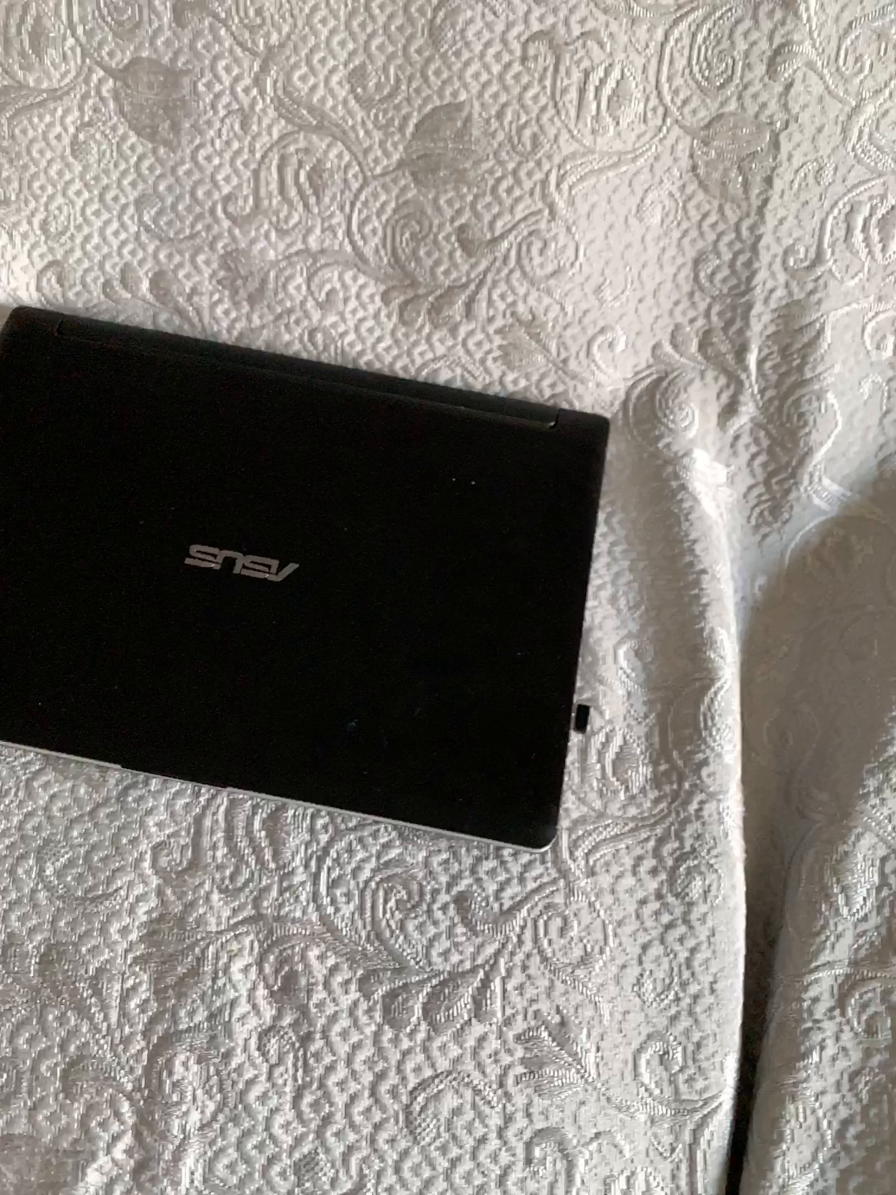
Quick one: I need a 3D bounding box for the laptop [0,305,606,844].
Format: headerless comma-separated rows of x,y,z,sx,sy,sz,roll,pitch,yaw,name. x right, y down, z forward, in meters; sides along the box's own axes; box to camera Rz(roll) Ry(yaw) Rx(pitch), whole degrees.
-0.098,-0.026,0.459,0.333,0.001,0.232,11,64,0,laptop
